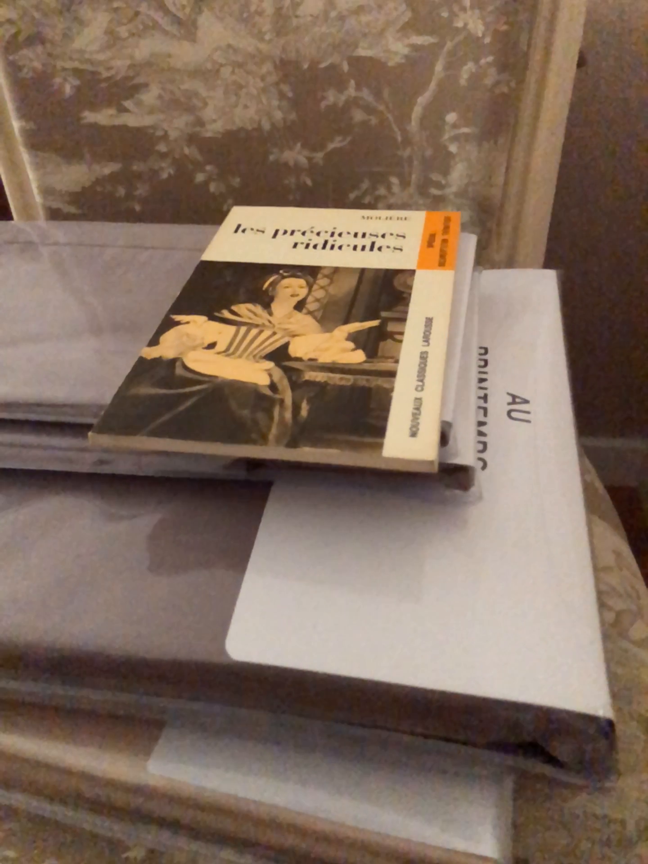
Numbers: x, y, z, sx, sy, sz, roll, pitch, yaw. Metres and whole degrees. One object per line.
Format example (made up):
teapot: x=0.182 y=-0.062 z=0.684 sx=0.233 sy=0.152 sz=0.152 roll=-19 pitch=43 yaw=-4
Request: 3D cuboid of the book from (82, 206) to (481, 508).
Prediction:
book: x=0.000 y=-0.046 z=0.289 sx=0.120 sy=0.020 sz=0.181 roll=3 pitch=40 yaw=11
